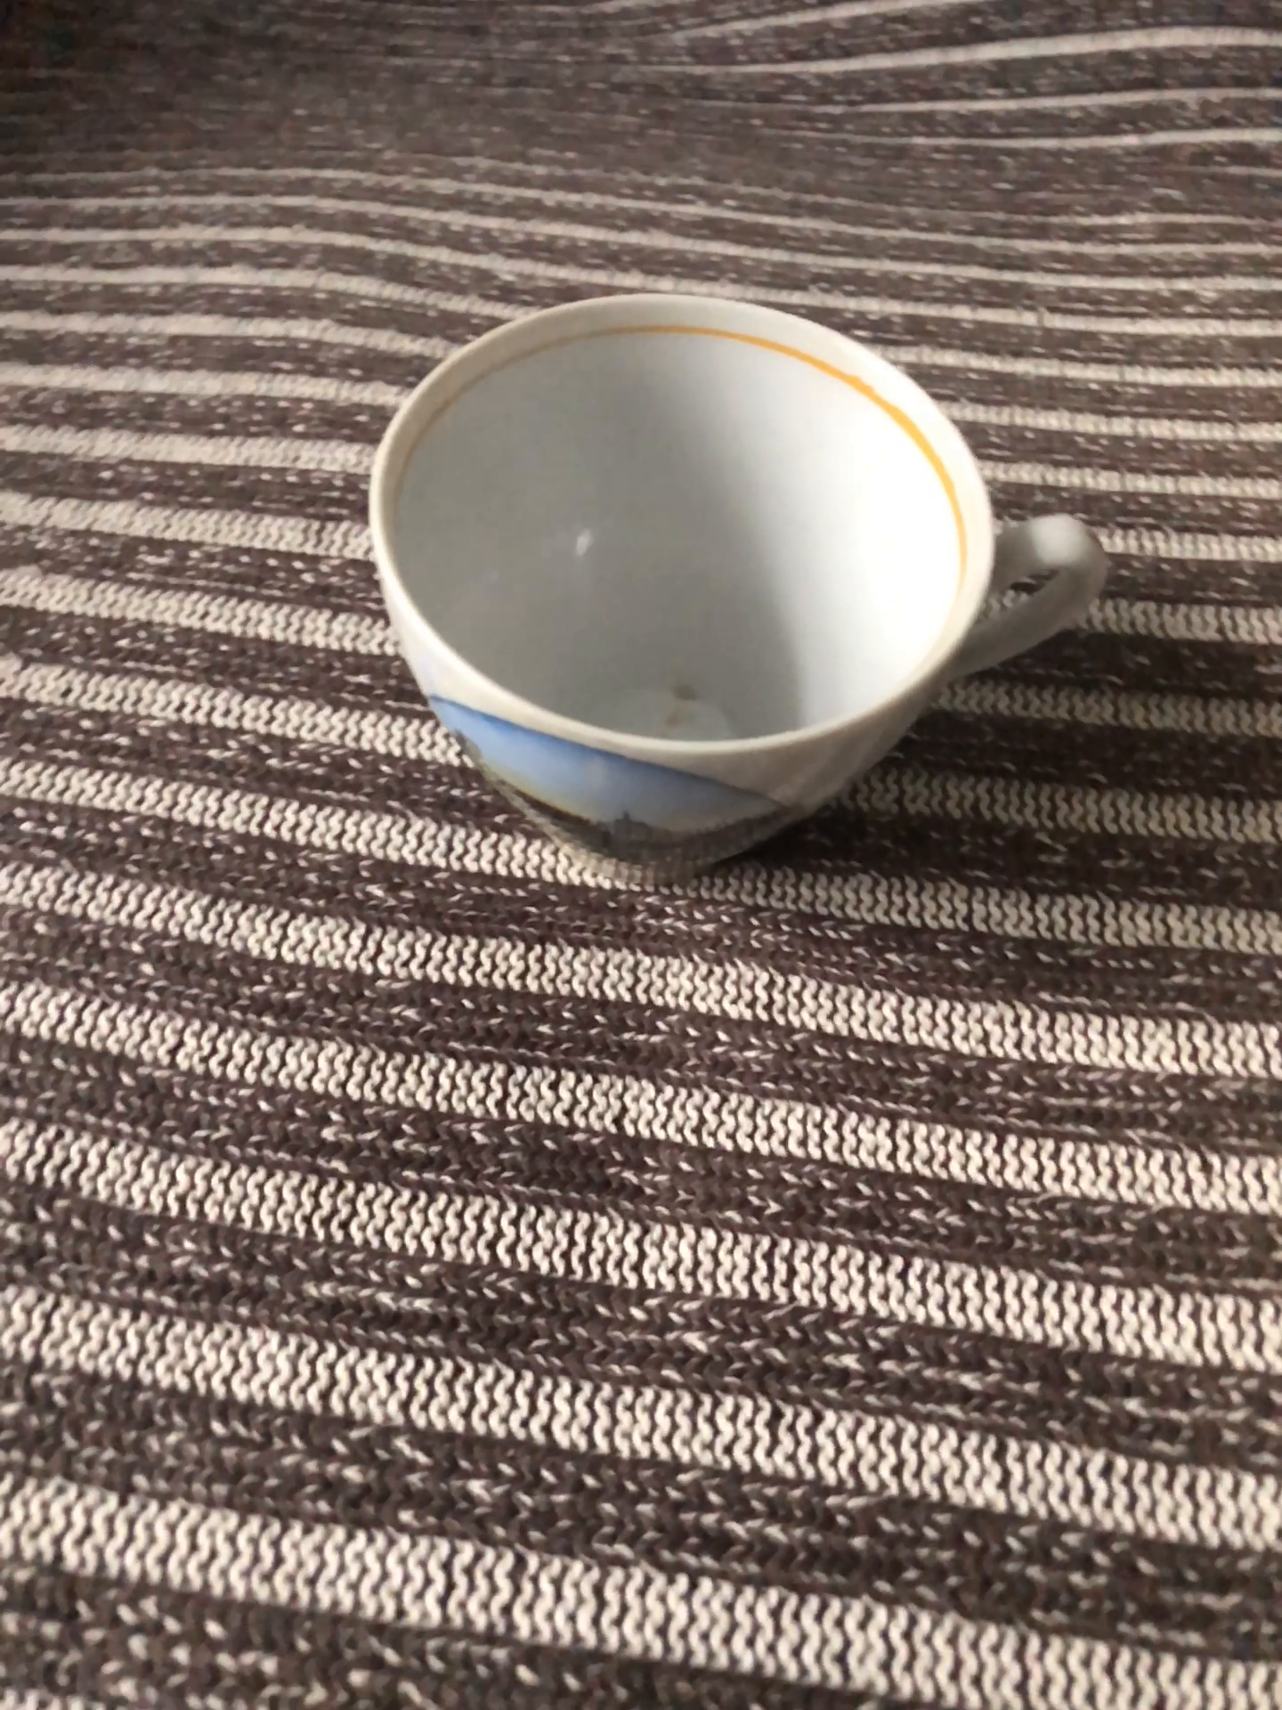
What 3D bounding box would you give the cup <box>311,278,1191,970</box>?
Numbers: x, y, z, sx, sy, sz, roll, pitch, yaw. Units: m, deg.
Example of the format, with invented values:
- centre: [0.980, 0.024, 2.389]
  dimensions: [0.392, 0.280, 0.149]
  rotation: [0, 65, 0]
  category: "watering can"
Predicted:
- centre: [0.010, -0.025, 0.162]
  dimensions: [0.079, 0.042, 0.061]
  rotation: [2, 60, -2]
  category: "cup"
